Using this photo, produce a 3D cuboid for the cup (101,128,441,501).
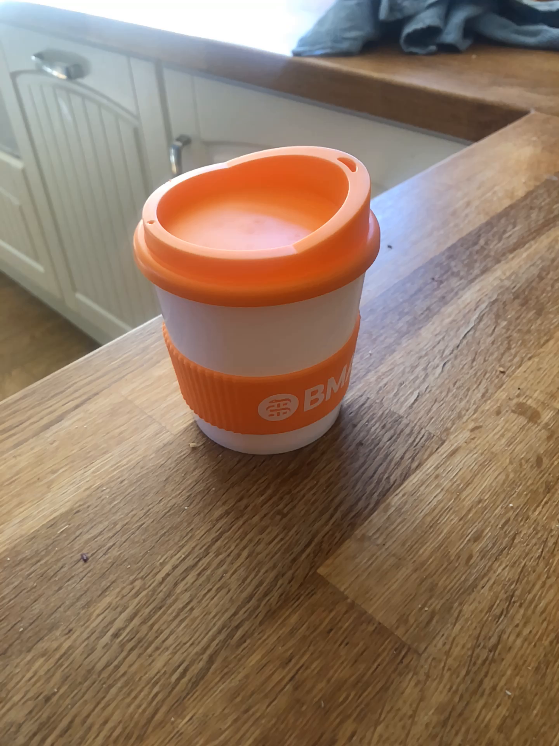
[{"bbox_3d":[0.001,-0.027,0.240,0.080,0.094,0.086,-1,39,1],"label":"cup"}]
